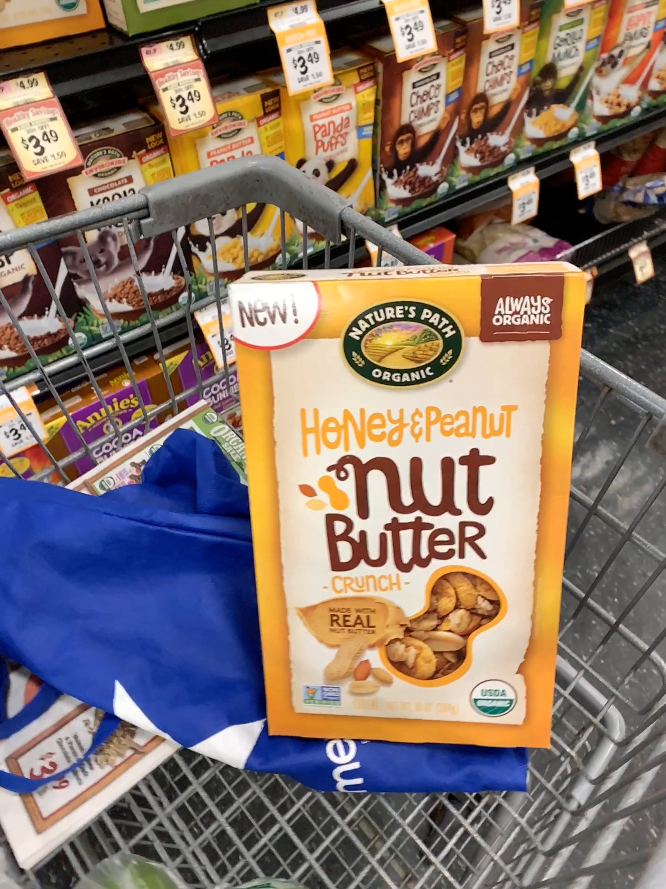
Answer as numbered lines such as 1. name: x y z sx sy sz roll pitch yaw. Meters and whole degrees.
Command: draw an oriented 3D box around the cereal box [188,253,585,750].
1. cereal box: 0.027 0.034 0.339 0.160 0.239 0.050 0 20 7
